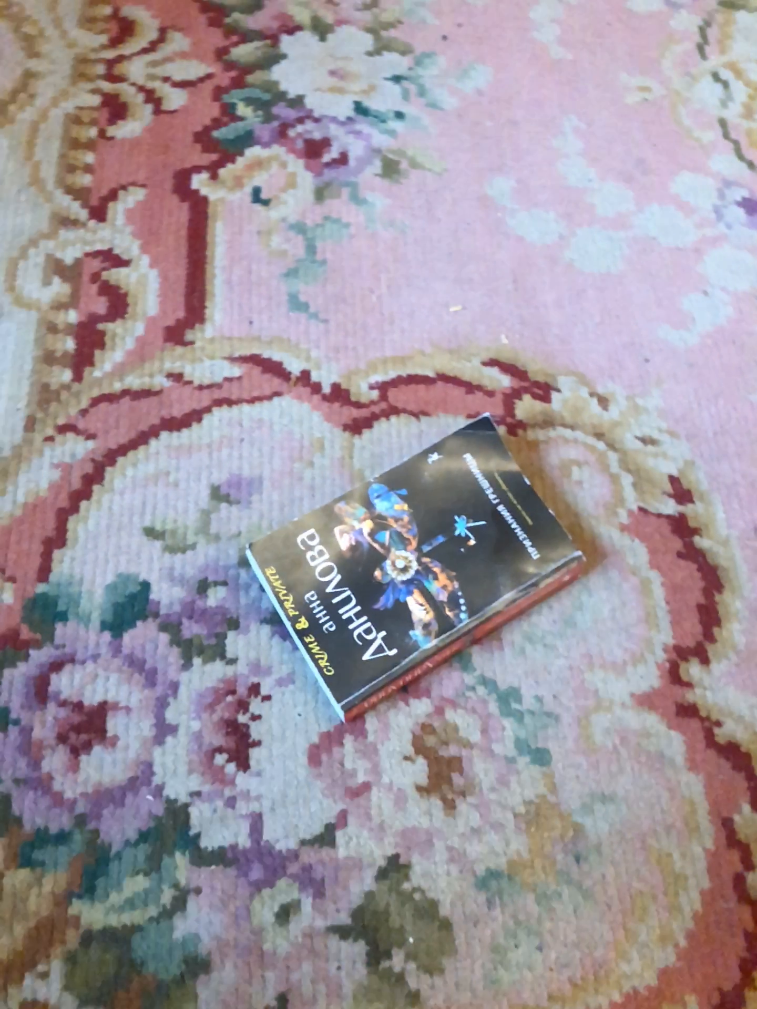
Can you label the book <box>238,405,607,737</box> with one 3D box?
[{"bbox_3d":[0.023,0.034,0.468,0.165,0.050,0.110,-30,71,-15],"label":"book"}]
